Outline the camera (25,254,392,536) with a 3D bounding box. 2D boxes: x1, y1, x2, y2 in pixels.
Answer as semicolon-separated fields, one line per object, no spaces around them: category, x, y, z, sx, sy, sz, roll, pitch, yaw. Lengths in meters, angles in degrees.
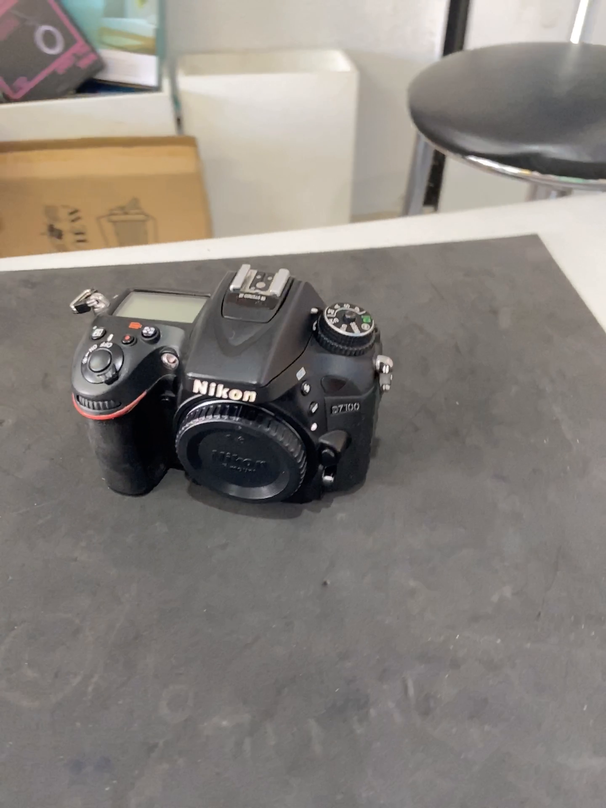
camera;-0.034;-0.005;0.300;0.140;0.092;0.078;6;45;8
